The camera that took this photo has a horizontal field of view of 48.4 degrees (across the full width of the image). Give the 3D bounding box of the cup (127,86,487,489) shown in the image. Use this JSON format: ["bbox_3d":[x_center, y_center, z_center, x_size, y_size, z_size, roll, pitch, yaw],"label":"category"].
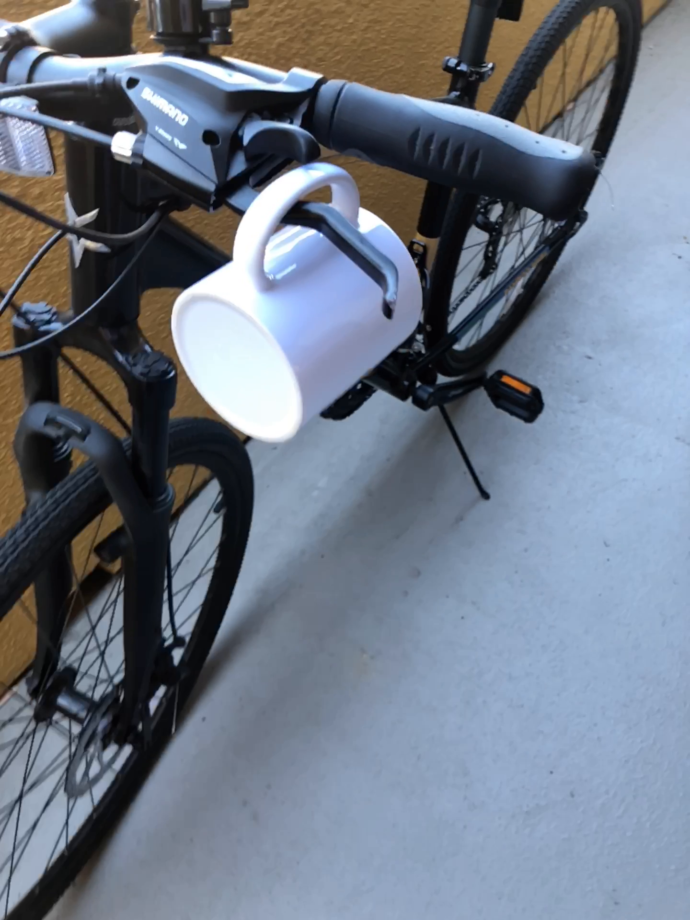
[{"bbox_3d":[-0.017,-0.081,0.366,0.090,0.120,0.120,39,61,22],"label":"cup"}]
